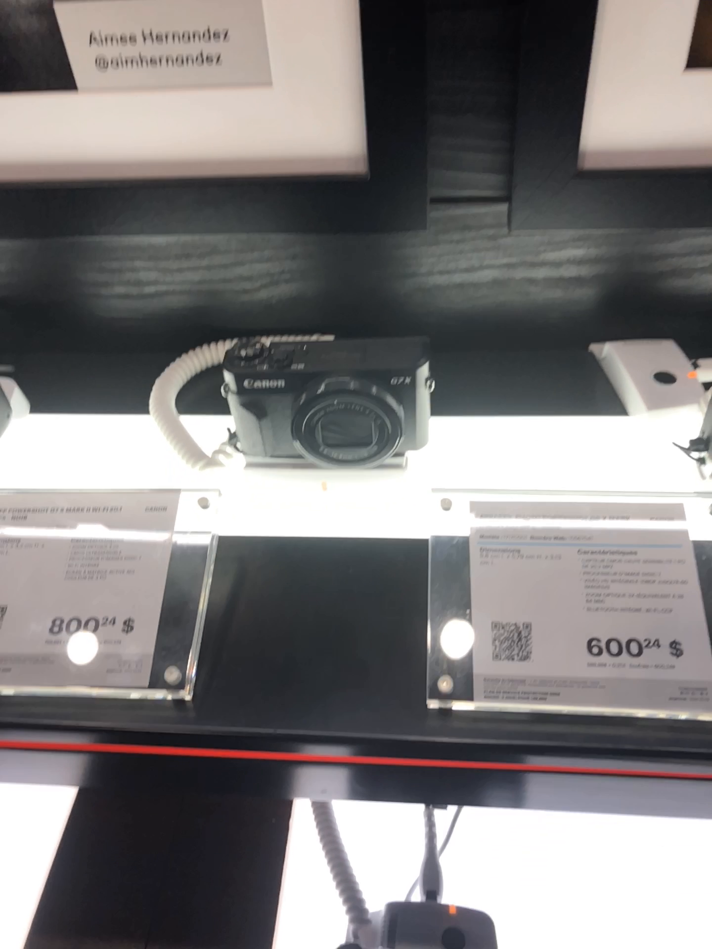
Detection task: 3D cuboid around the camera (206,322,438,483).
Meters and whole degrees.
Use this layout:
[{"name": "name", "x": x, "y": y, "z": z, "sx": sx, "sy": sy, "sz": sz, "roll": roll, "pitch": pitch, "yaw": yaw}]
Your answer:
[{"name": "camera", "x": -0.014, "y": -0.036, "z": 0.409, "sx": 0.110, "sy": 0.079, "sz": 0.030, "roll": -1, "pitch": 43, "yaw": 4}]
